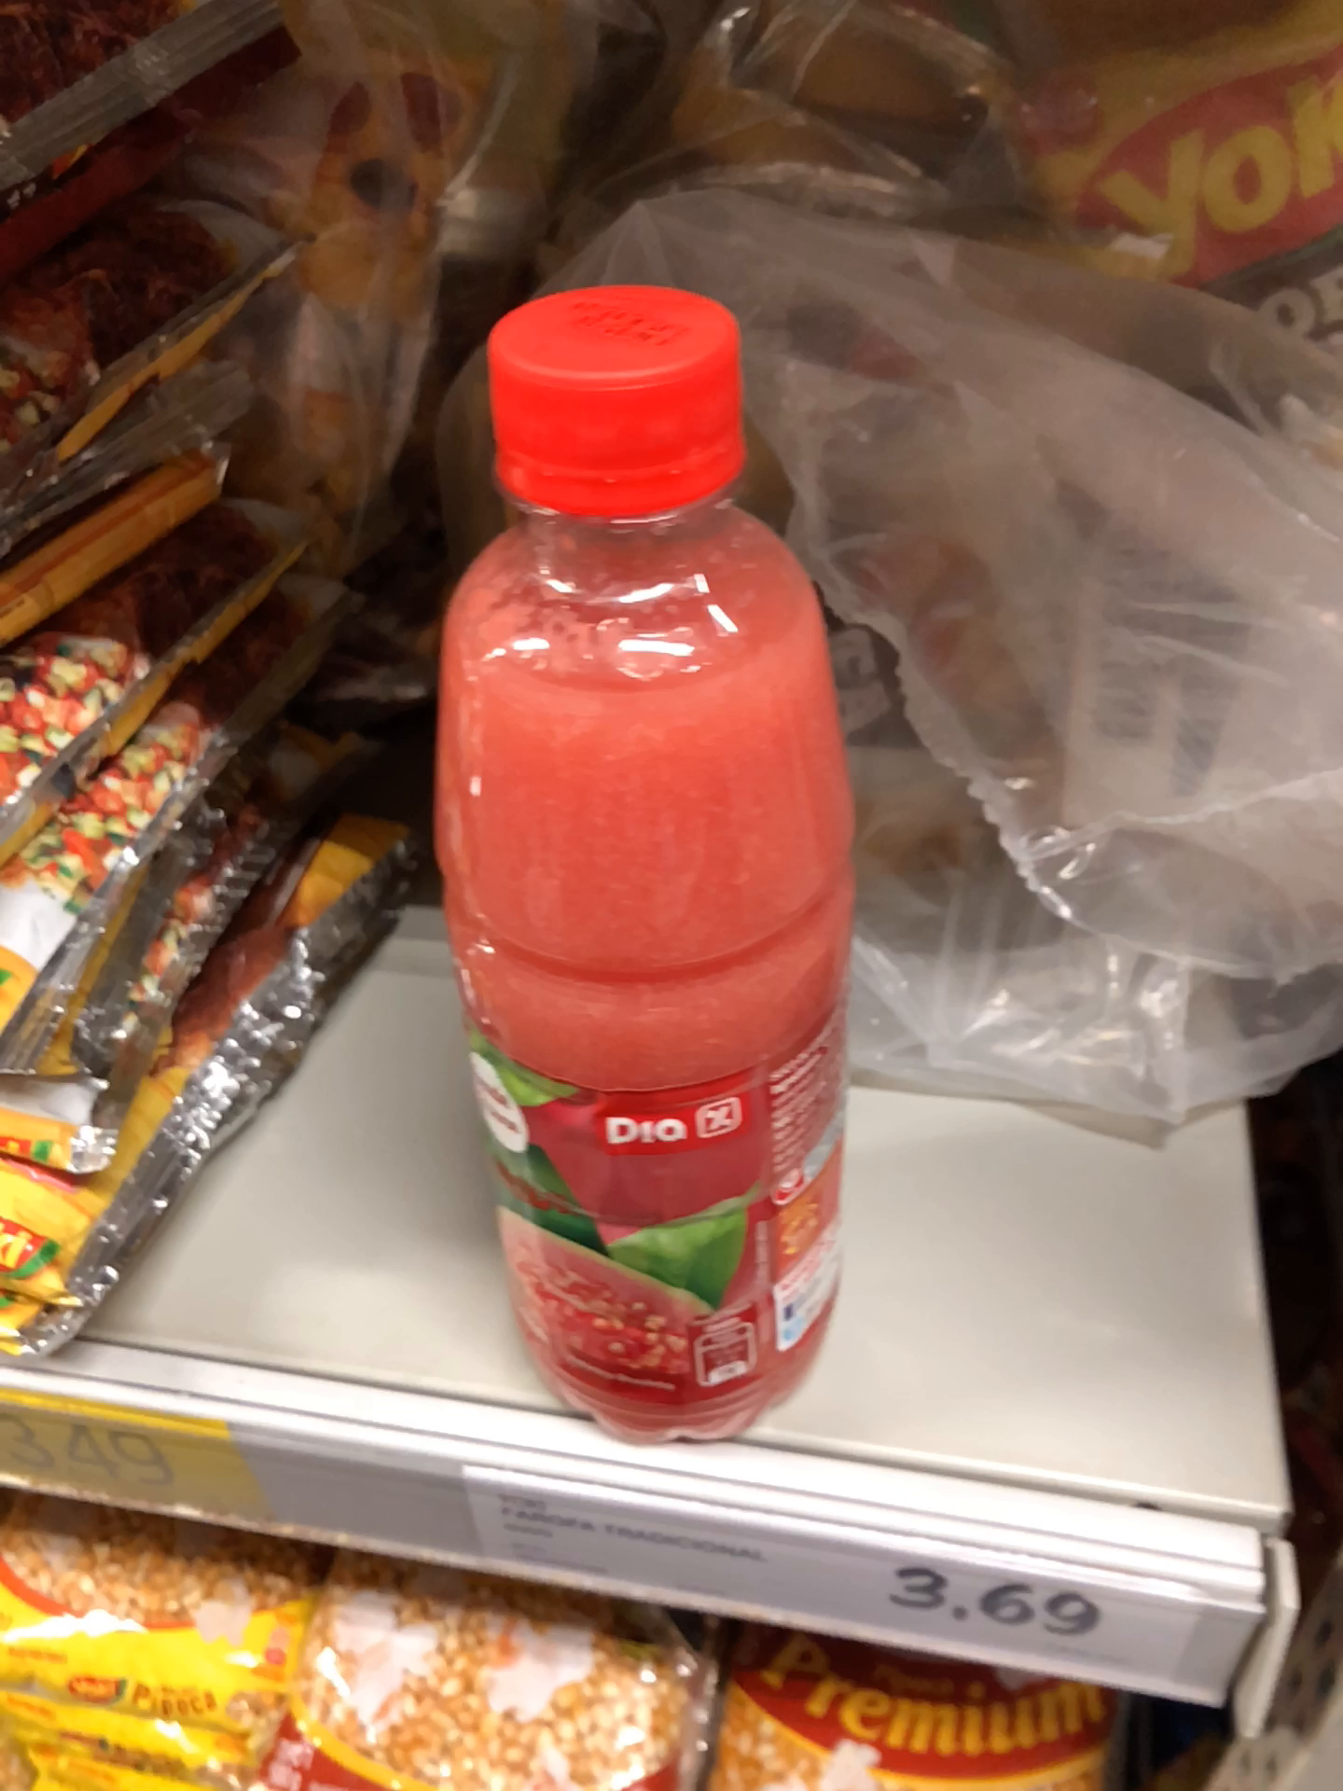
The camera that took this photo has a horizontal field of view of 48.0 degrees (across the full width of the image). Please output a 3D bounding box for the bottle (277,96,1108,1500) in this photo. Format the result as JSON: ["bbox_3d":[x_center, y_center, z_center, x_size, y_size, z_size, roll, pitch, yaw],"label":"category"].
[{"bbox_3d":[0.003,0.001,0.250,0.070,0.218,0.070,-1,42,1],"label":"bottle"}]
